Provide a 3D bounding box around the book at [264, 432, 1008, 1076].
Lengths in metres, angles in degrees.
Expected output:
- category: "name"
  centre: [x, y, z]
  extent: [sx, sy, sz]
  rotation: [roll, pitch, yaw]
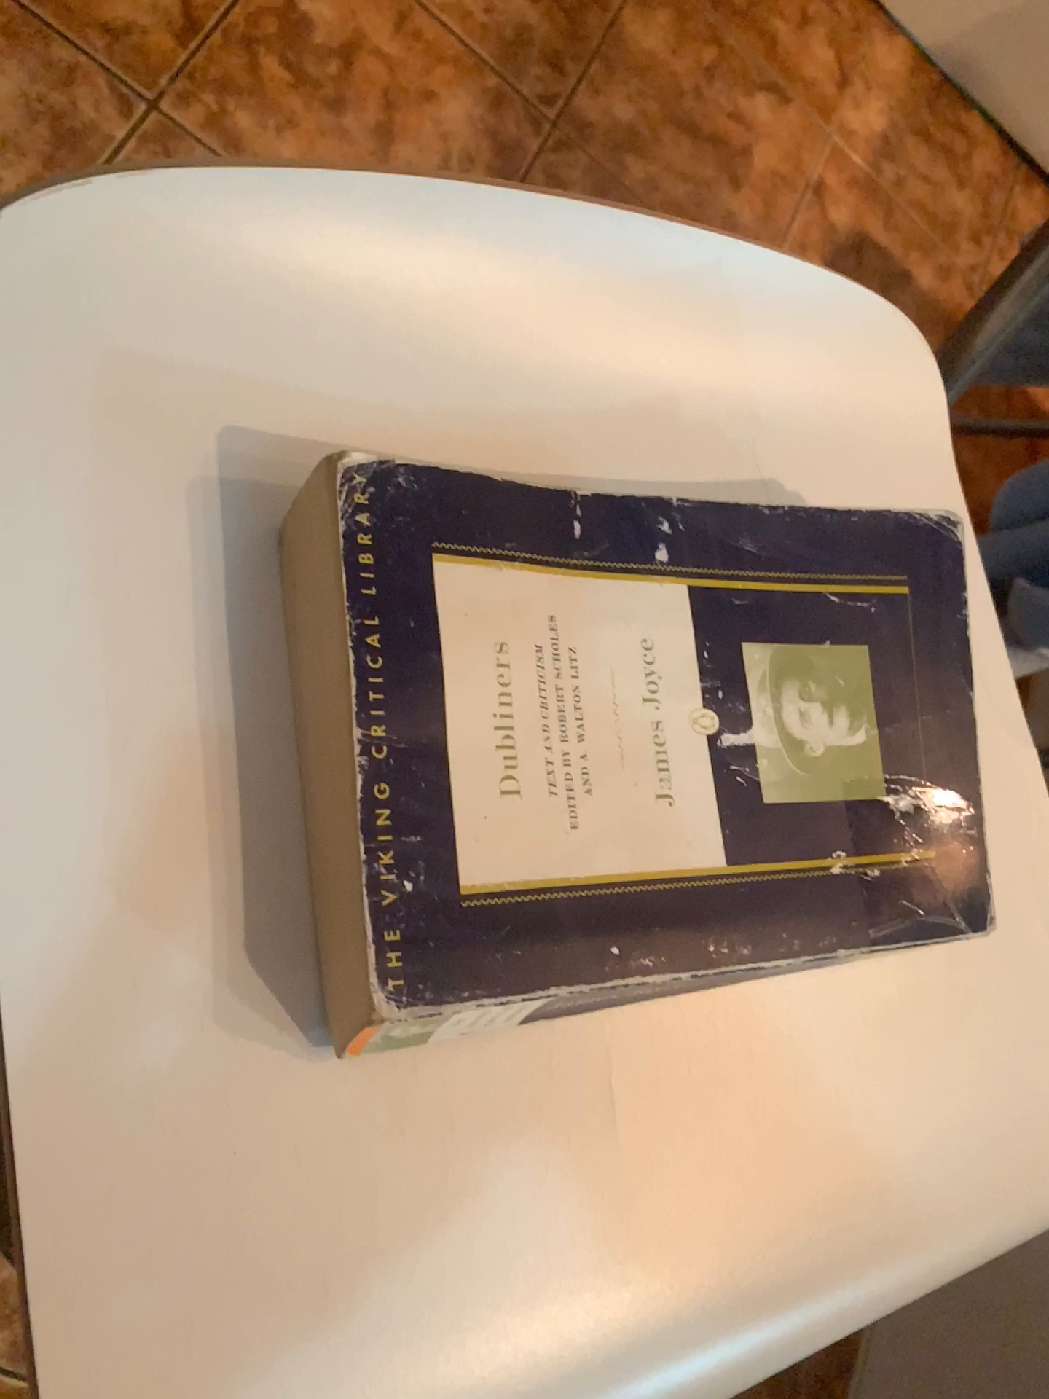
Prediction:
- category: "book"
  centre: [0.038, 0.010, 0.284]
  extent: [0.198, 0.035, 0.132]
  rotation: [-1, 81, -30]
